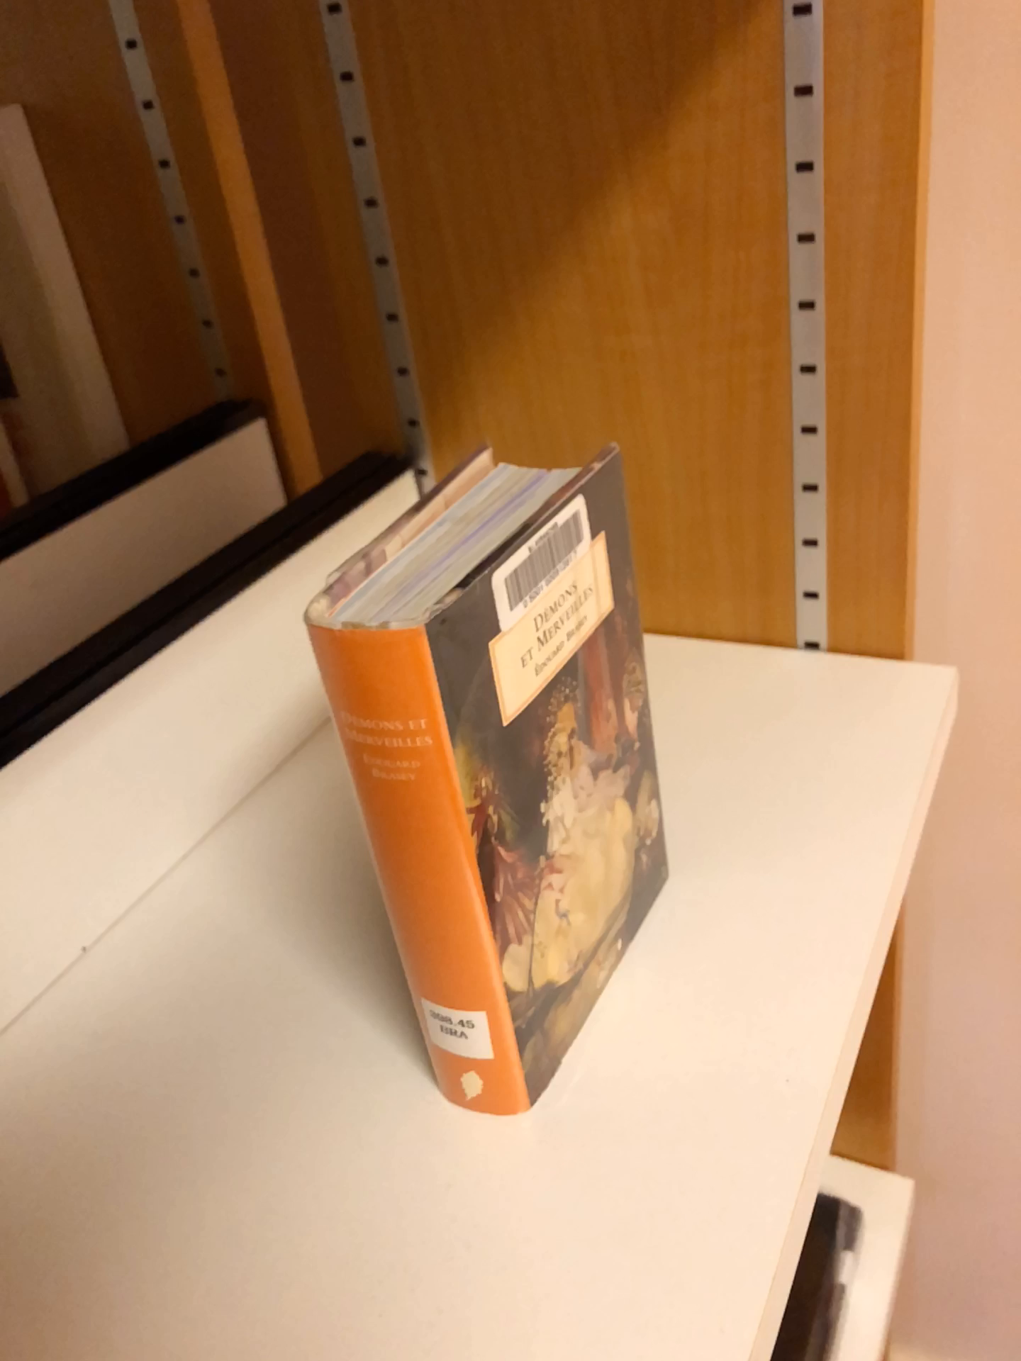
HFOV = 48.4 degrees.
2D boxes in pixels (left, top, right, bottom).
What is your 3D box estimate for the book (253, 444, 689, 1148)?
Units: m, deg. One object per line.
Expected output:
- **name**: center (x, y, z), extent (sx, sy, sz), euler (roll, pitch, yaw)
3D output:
- **book**: center (0.002, 0.028, 0.321), extent (0.047, 0.155, 0.115), euler (6, 33, 28)
